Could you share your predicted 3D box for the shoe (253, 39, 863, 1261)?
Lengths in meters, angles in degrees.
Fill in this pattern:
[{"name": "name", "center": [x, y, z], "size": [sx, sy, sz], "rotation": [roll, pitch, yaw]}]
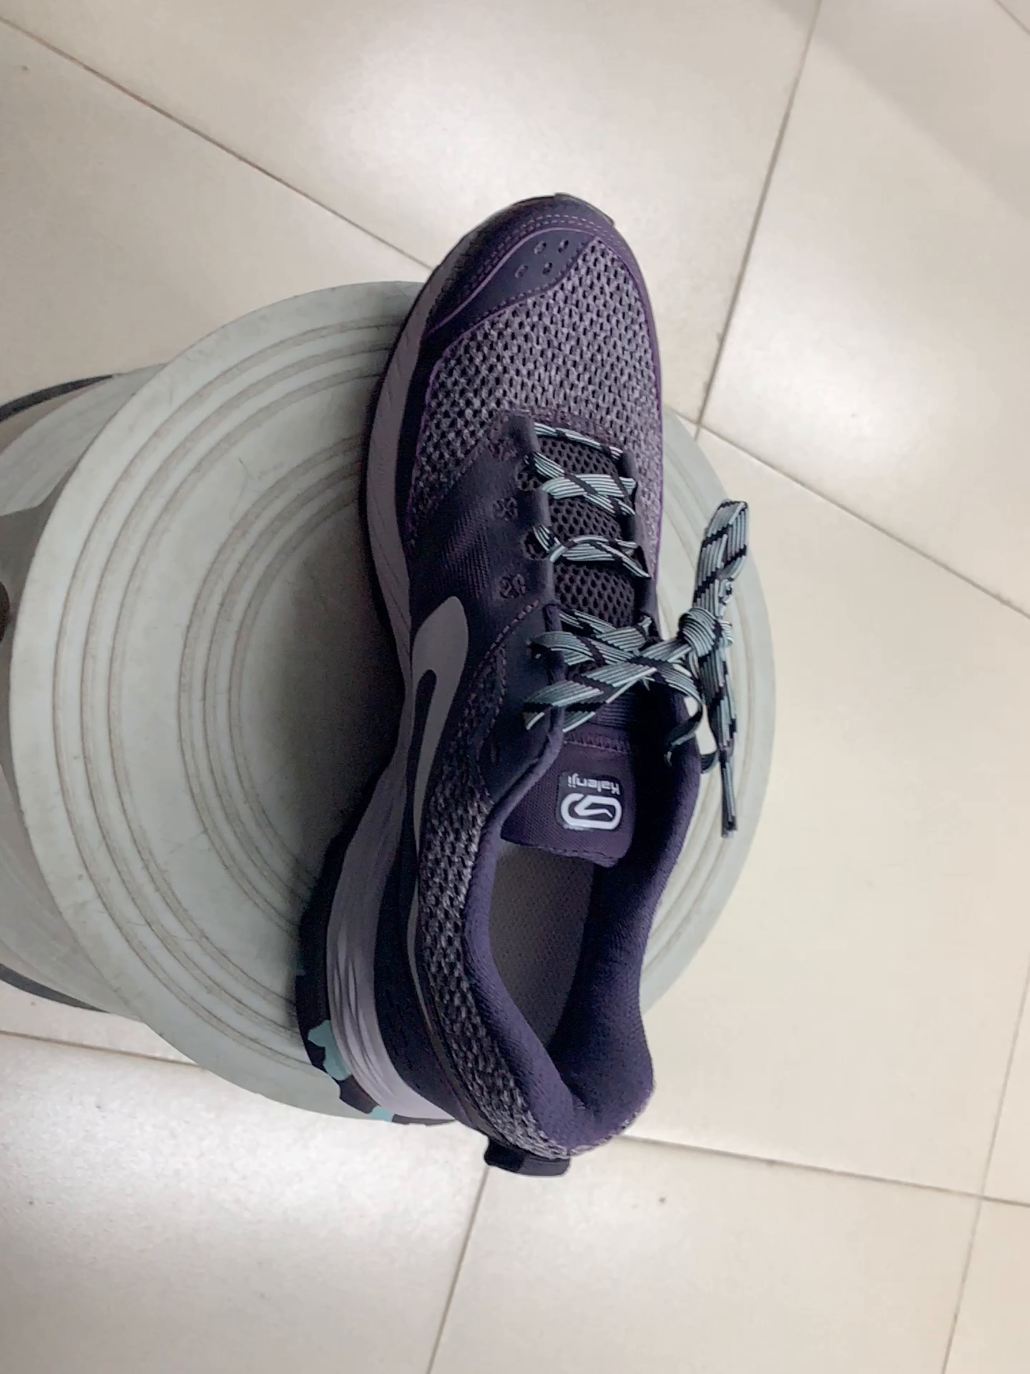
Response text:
[{"name": "shoe", "center": [0.009, -0.007, 0.319], "size": [0.100, 0.110, 0.290], "rotation": [11, 85, -28]}]
